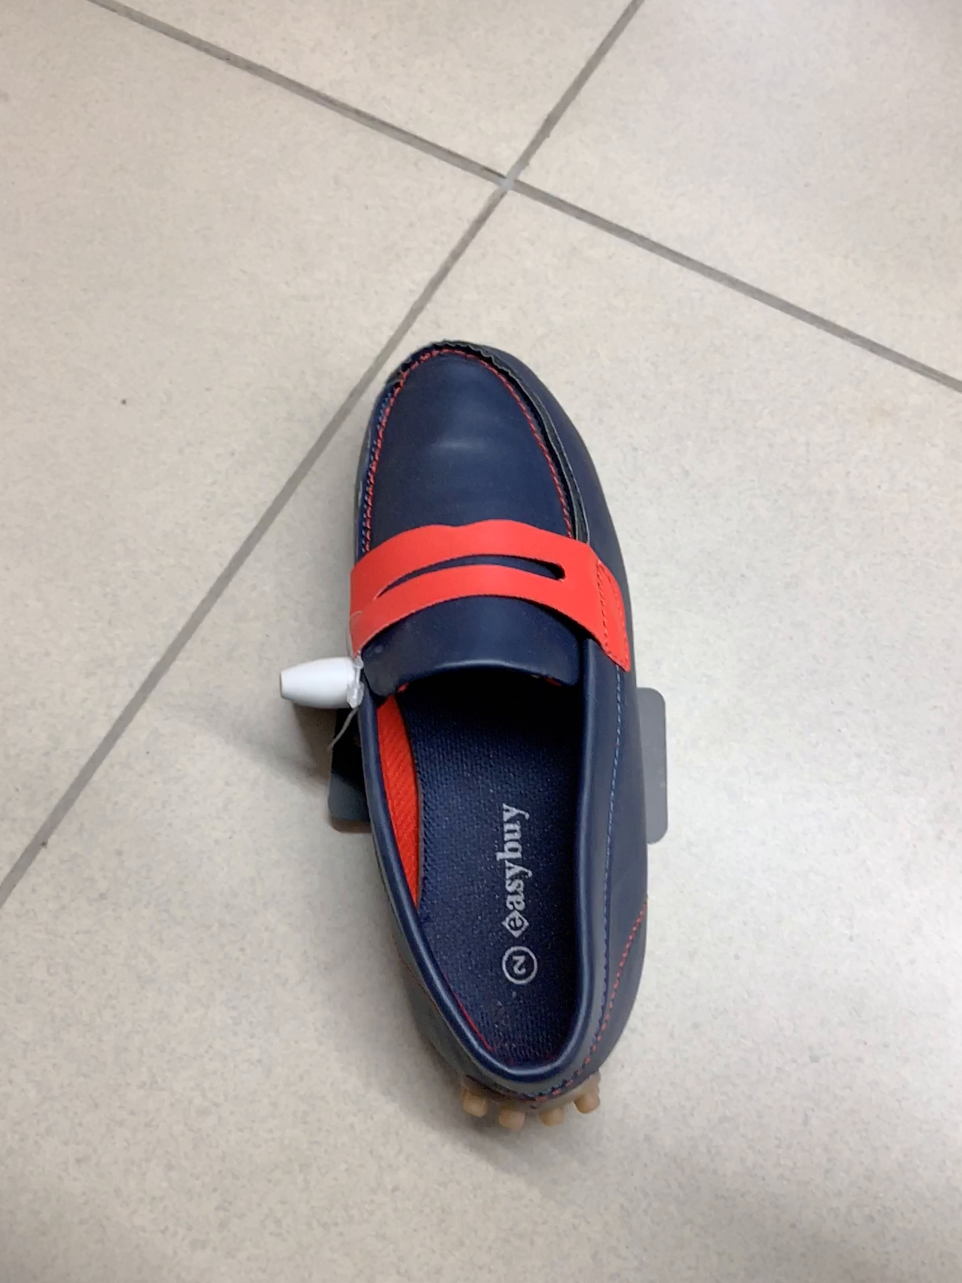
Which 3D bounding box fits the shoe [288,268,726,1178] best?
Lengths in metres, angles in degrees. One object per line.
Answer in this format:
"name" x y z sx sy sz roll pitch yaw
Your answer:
"shoe" 0.000 0.010 0.239 0.080 0.050 0.200 -2 70 -2
